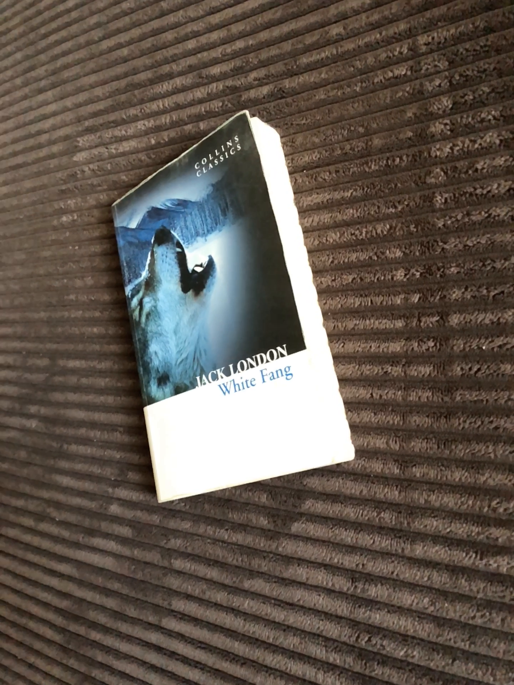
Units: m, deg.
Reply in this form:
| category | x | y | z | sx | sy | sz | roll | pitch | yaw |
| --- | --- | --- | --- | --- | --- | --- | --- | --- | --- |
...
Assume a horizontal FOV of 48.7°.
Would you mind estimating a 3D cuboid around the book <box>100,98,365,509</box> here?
| category | x | y | z | sx | sy | sz | roll | pitch | yaw |
| --- | --- | --- | --- | --- | --- | --- | --- | --- | --- |
| book | -0.022 | -0.013 | 0.296 | 0.114 | 0.030 | 0.178 | -21 | 76 | 37 |
